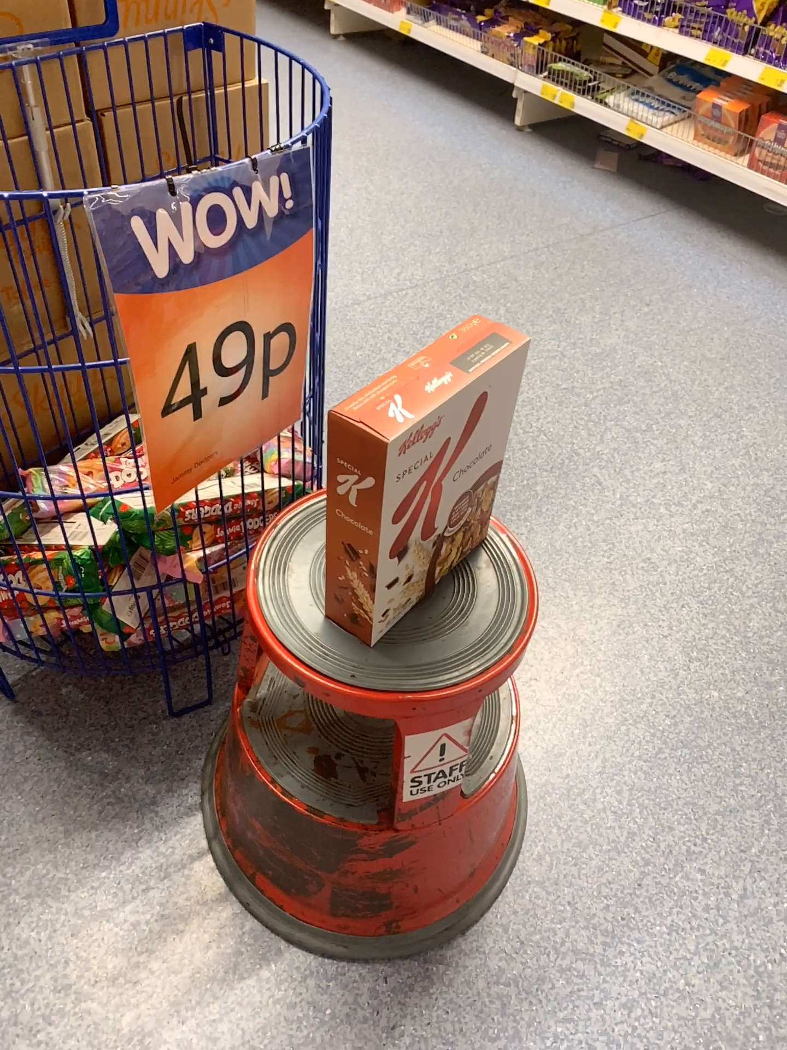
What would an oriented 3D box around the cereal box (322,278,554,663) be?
[{"bbox_3d":[0.032,-0.042,0.690,0.060,0.267,0.211,31,51,23],"label":"cereal box"}]
